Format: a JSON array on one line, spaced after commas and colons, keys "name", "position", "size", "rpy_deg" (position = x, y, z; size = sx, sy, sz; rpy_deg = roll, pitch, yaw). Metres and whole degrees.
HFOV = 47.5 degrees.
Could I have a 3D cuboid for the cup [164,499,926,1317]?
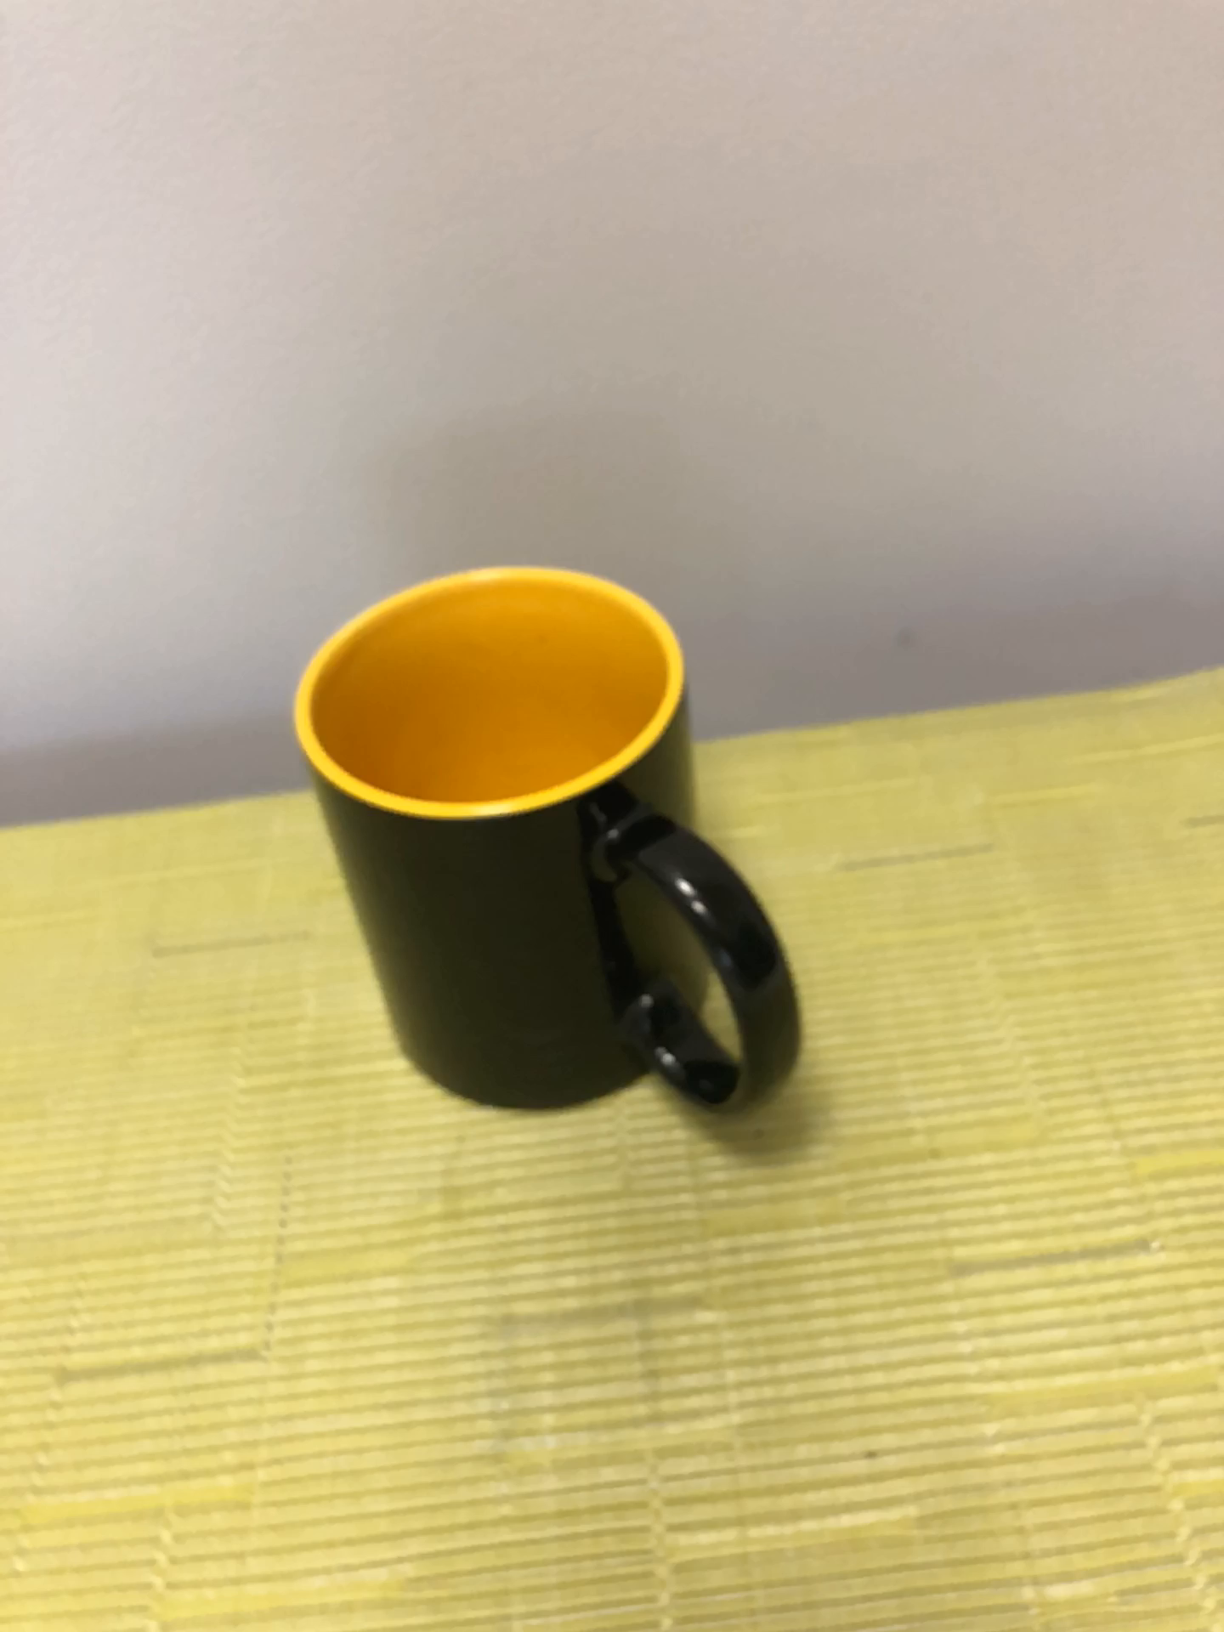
[{"name": "cup", "position": [-0.011, 0.014, 0.300], "size": [0.119, 0.104, 0.088], "rpy_deg": [31, 55, 34]}]
